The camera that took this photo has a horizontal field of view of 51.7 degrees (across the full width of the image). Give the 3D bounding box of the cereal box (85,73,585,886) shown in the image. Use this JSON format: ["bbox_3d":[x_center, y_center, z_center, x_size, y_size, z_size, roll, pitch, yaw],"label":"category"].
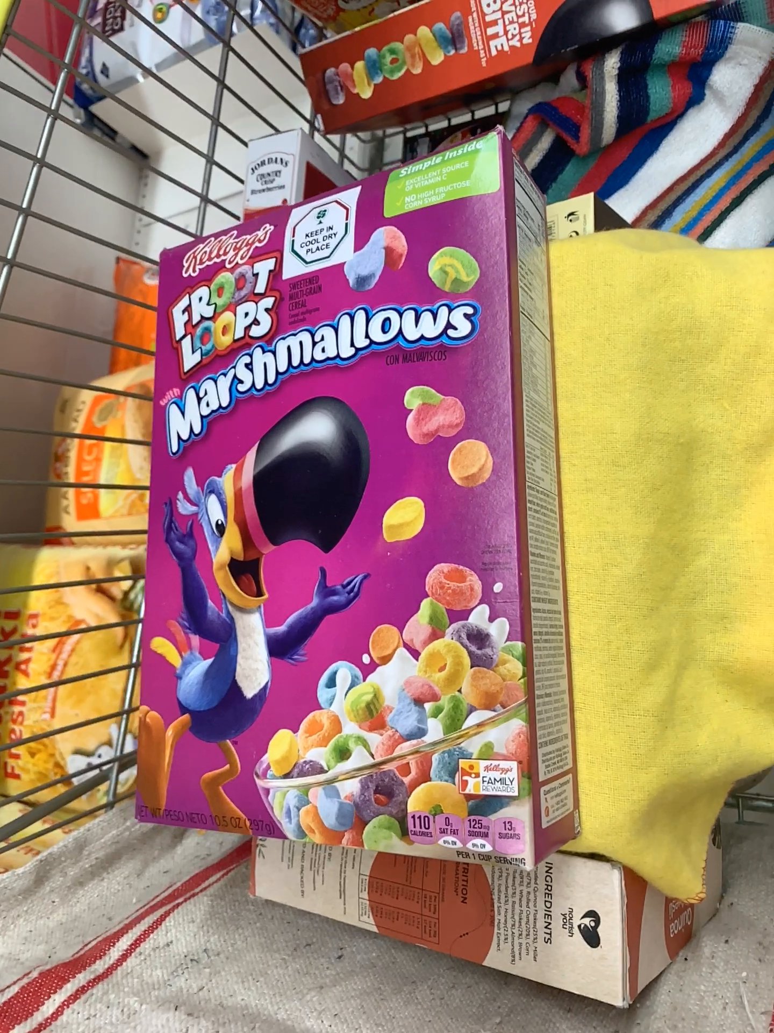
[{"bbox_3d":[-0.027,-0.010,0.337,0.191,0.070,0.270,-6,79,30],"label":"cereal box"}]
